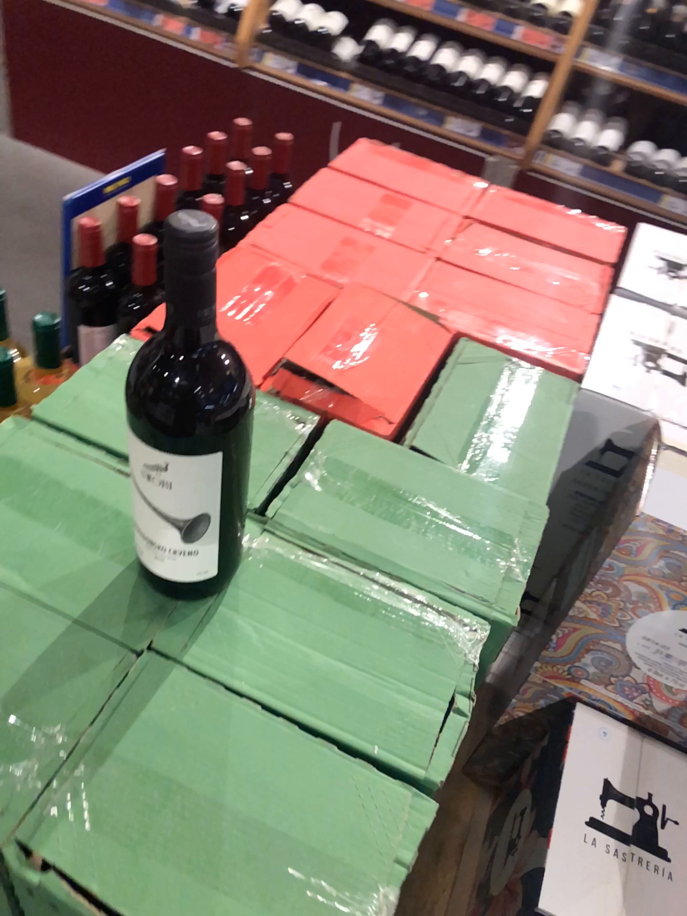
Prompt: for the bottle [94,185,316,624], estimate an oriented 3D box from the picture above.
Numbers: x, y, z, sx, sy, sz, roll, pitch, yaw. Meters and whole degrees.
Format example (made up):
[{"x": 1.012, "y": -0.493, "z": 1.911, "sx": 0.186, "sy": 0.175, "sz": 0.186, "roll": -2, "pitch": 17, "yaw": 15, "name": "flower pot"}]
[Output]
[{"x": -0.099, "y": -0.019, "z": 0.512, "sx": 0.090, "sy": 0.288, "sz": 0.080, "roll": 27, "pitch": 44, "yaw": 13, "name": "bottle"}]
